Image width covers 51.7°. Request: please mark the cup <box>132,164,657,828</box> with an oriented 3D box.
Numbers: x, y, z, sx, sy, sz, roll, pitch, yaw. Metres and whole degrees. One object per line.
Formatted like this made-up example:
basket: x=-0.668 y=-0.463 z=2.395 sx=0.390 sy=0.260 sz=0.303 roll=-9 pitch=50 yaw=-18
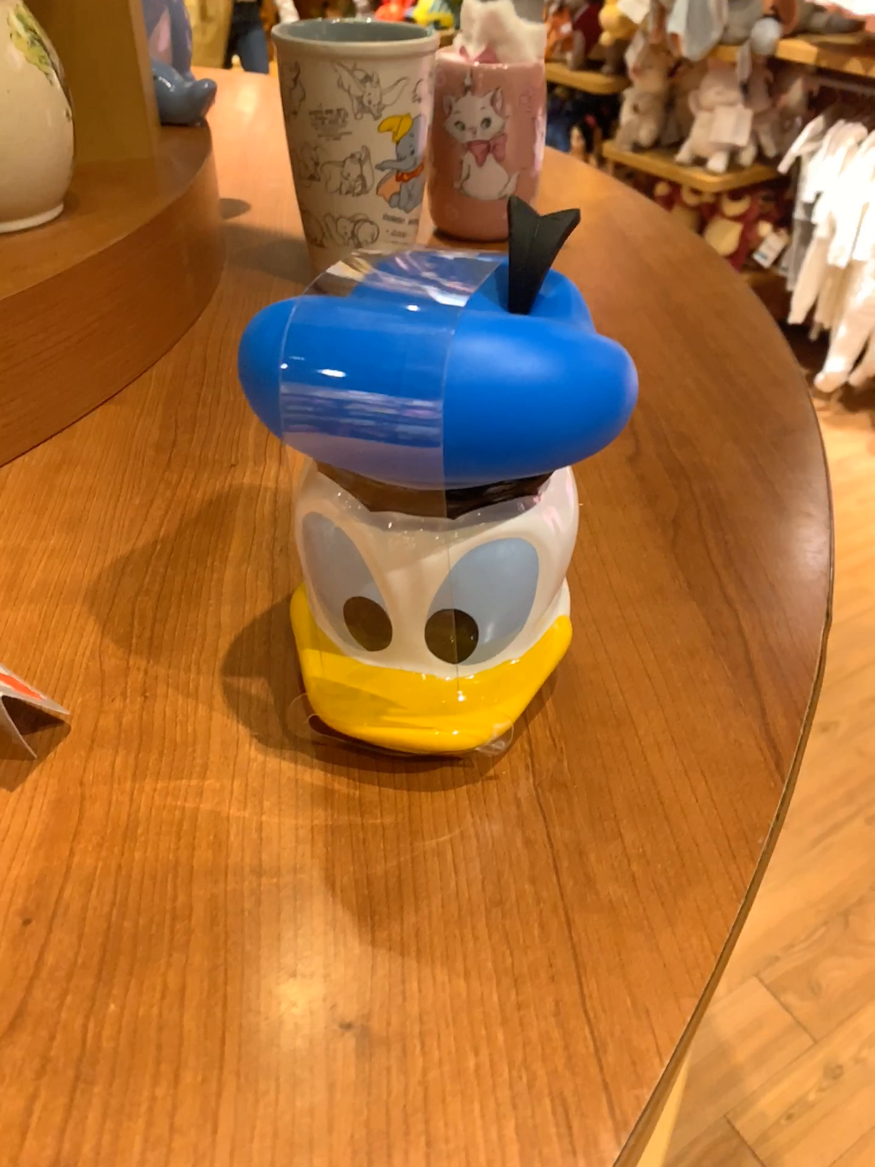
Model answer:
cup: x=0.001 y=-0.034 z=0.285 sx=0.105 sy=0.132 sz=0.151 roll=9 pitch=43 yaw=9
